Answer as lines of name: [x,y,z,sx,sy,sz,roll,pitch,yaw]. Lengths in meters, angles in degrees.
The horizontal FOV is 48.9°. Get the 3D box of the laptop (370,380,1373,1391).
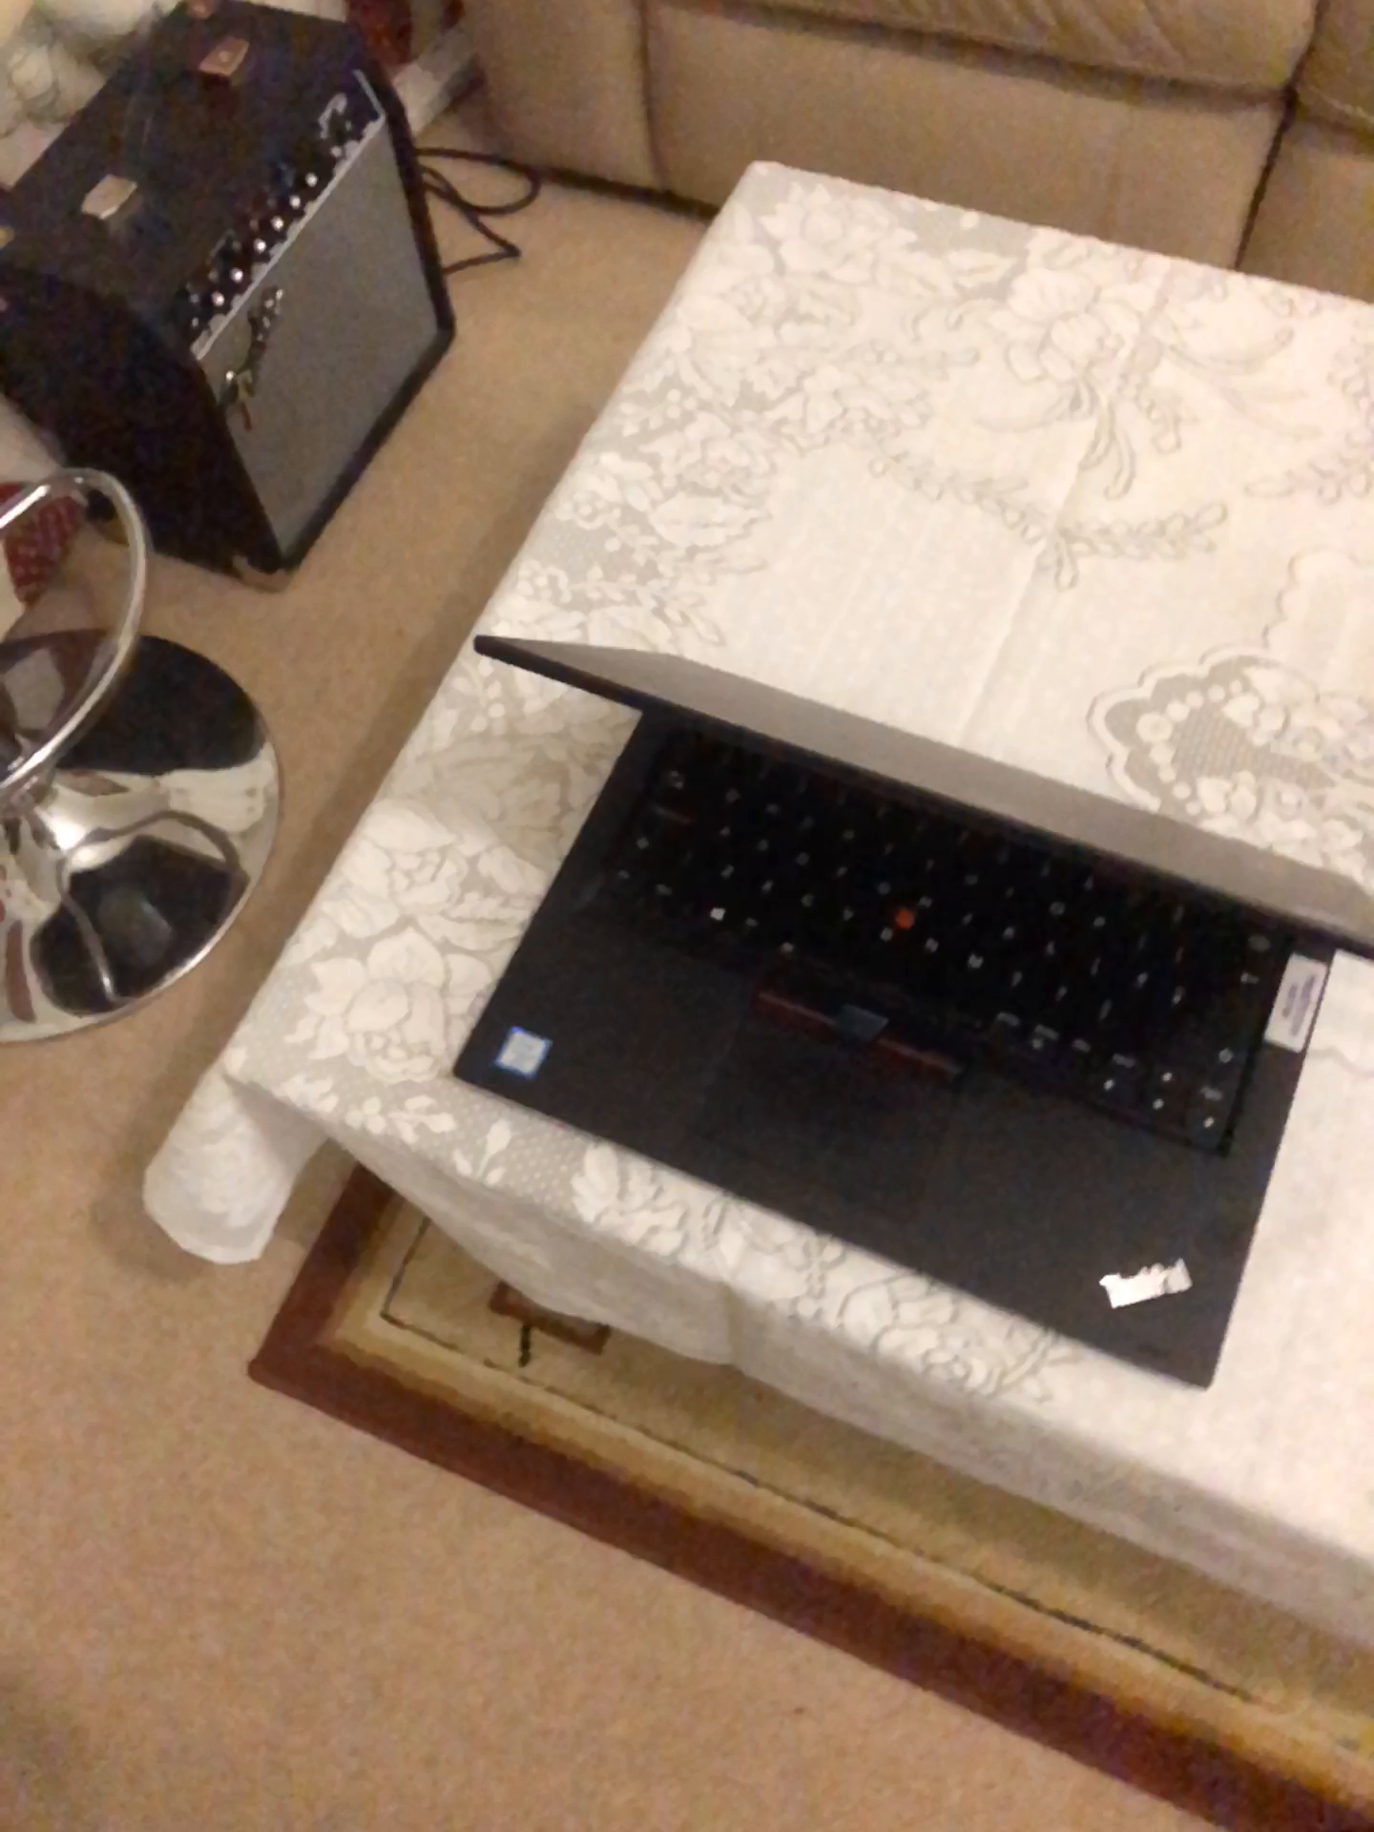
laptop: [0.089,-0.013,0.550,0.309,0.174,0.220,21,67,15]
